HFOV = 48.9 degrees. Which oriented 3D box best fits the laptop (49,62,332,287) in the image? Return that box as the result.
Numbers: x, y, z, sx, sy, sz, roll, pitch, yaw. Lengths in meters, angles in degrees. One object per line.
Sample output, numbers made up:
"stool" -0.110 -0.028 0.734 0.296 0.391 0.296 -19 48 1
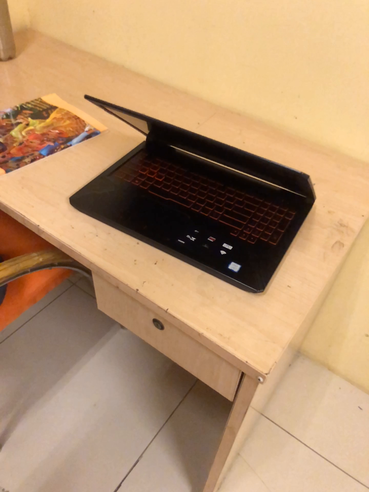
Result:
"laptop" 0.010 -0.146 0.698 0.370 0.173 0.253 25 48 19
